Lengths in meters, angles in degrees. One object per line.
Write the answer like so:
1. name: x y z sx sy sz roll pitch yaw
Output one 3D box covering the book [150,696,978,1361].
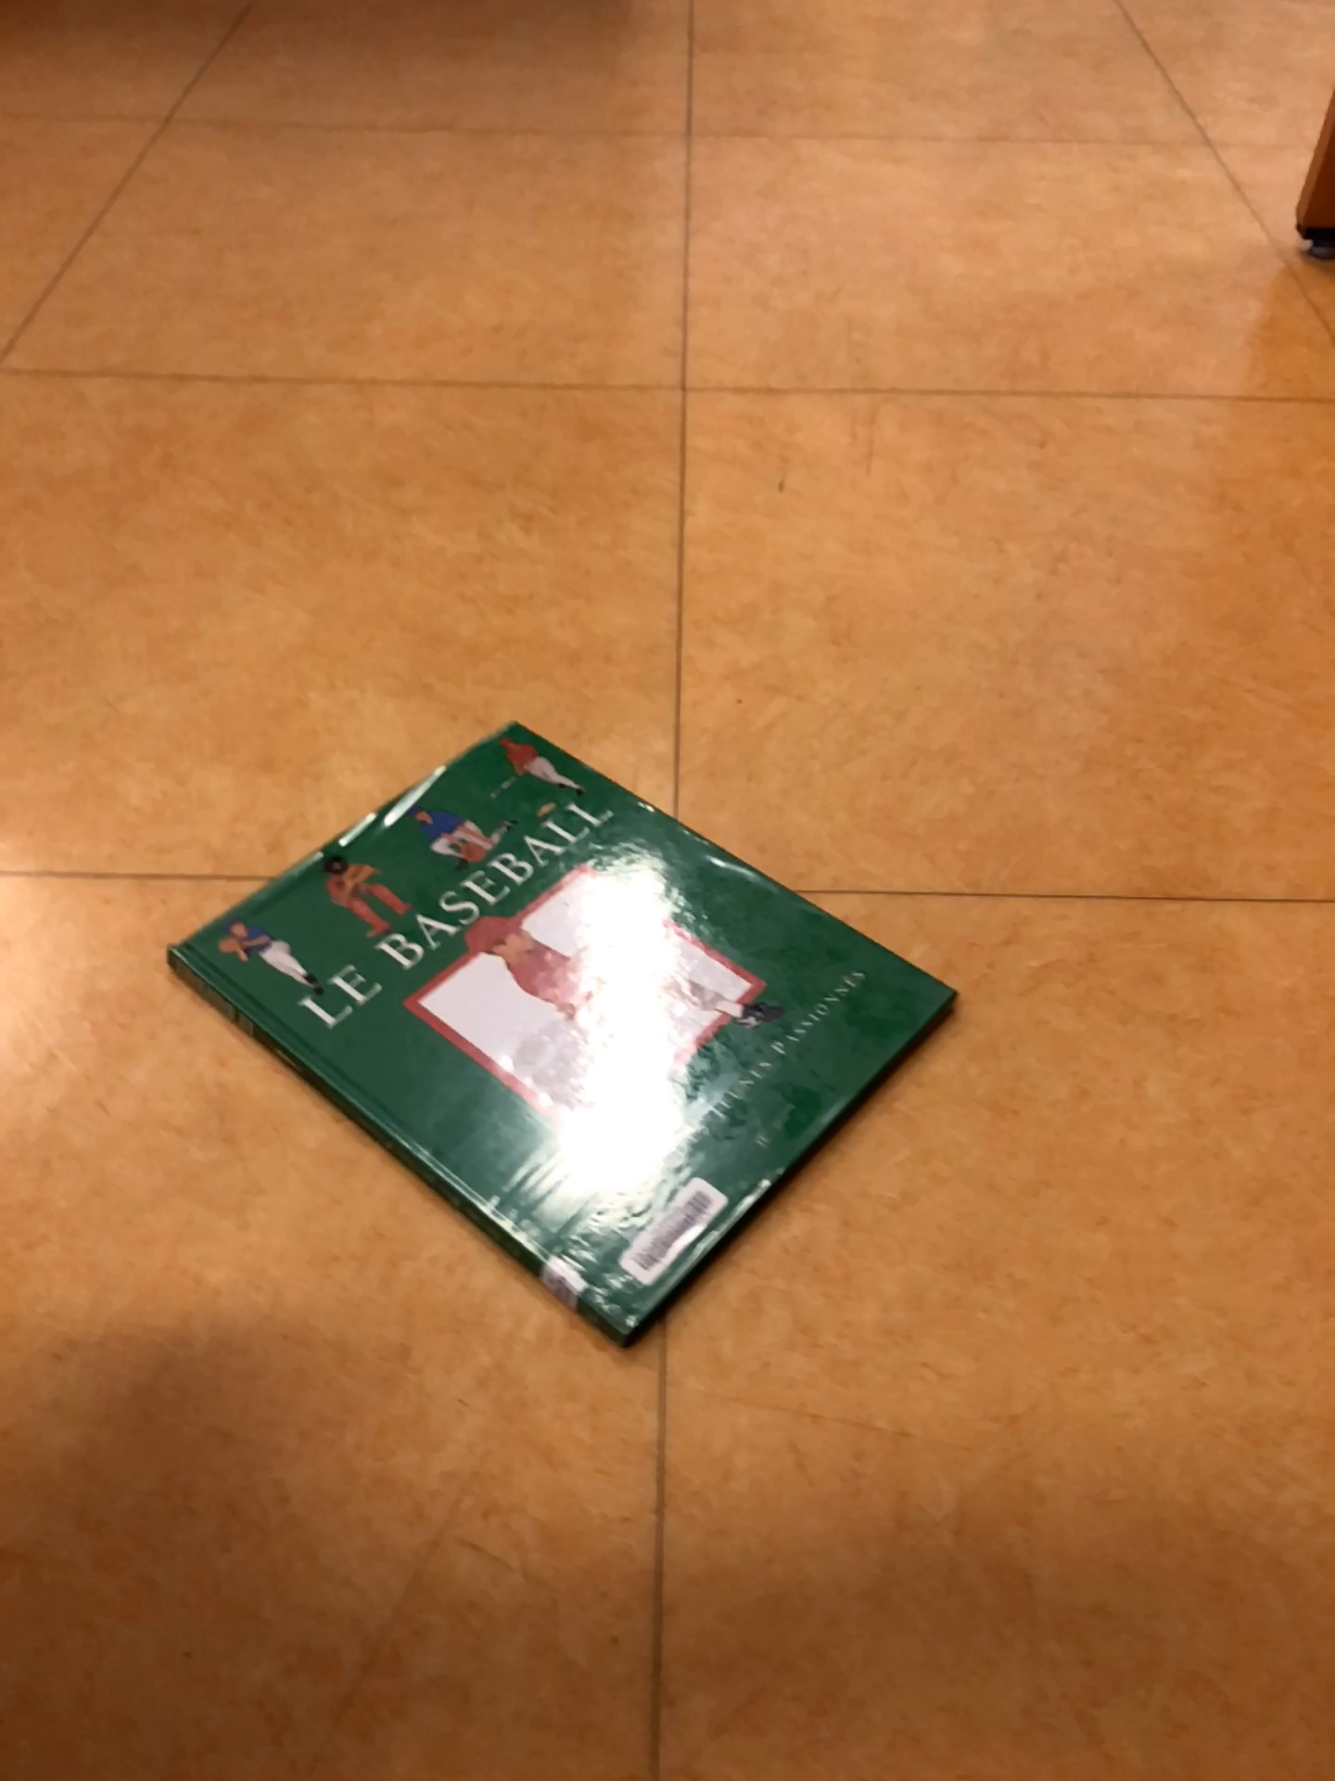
1. book: -0.046 0.034 0.634 0.280 0.020 0.220 33 53 27
